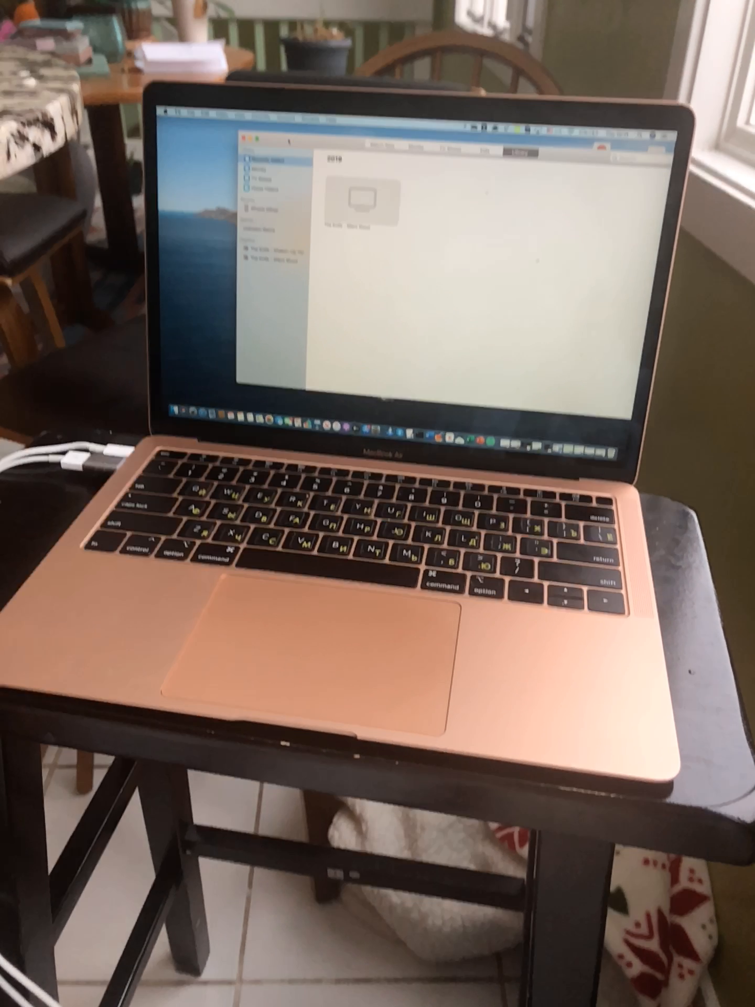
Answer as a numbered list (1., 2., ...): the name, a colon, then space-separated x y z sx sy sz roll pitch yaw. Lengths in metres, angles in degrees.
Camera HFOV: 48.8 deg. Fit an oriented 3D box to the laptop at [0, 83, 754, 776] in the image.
1. laptop: -0.007 -0.066 0.395 0.297 0.196 0.265 6 34 8
